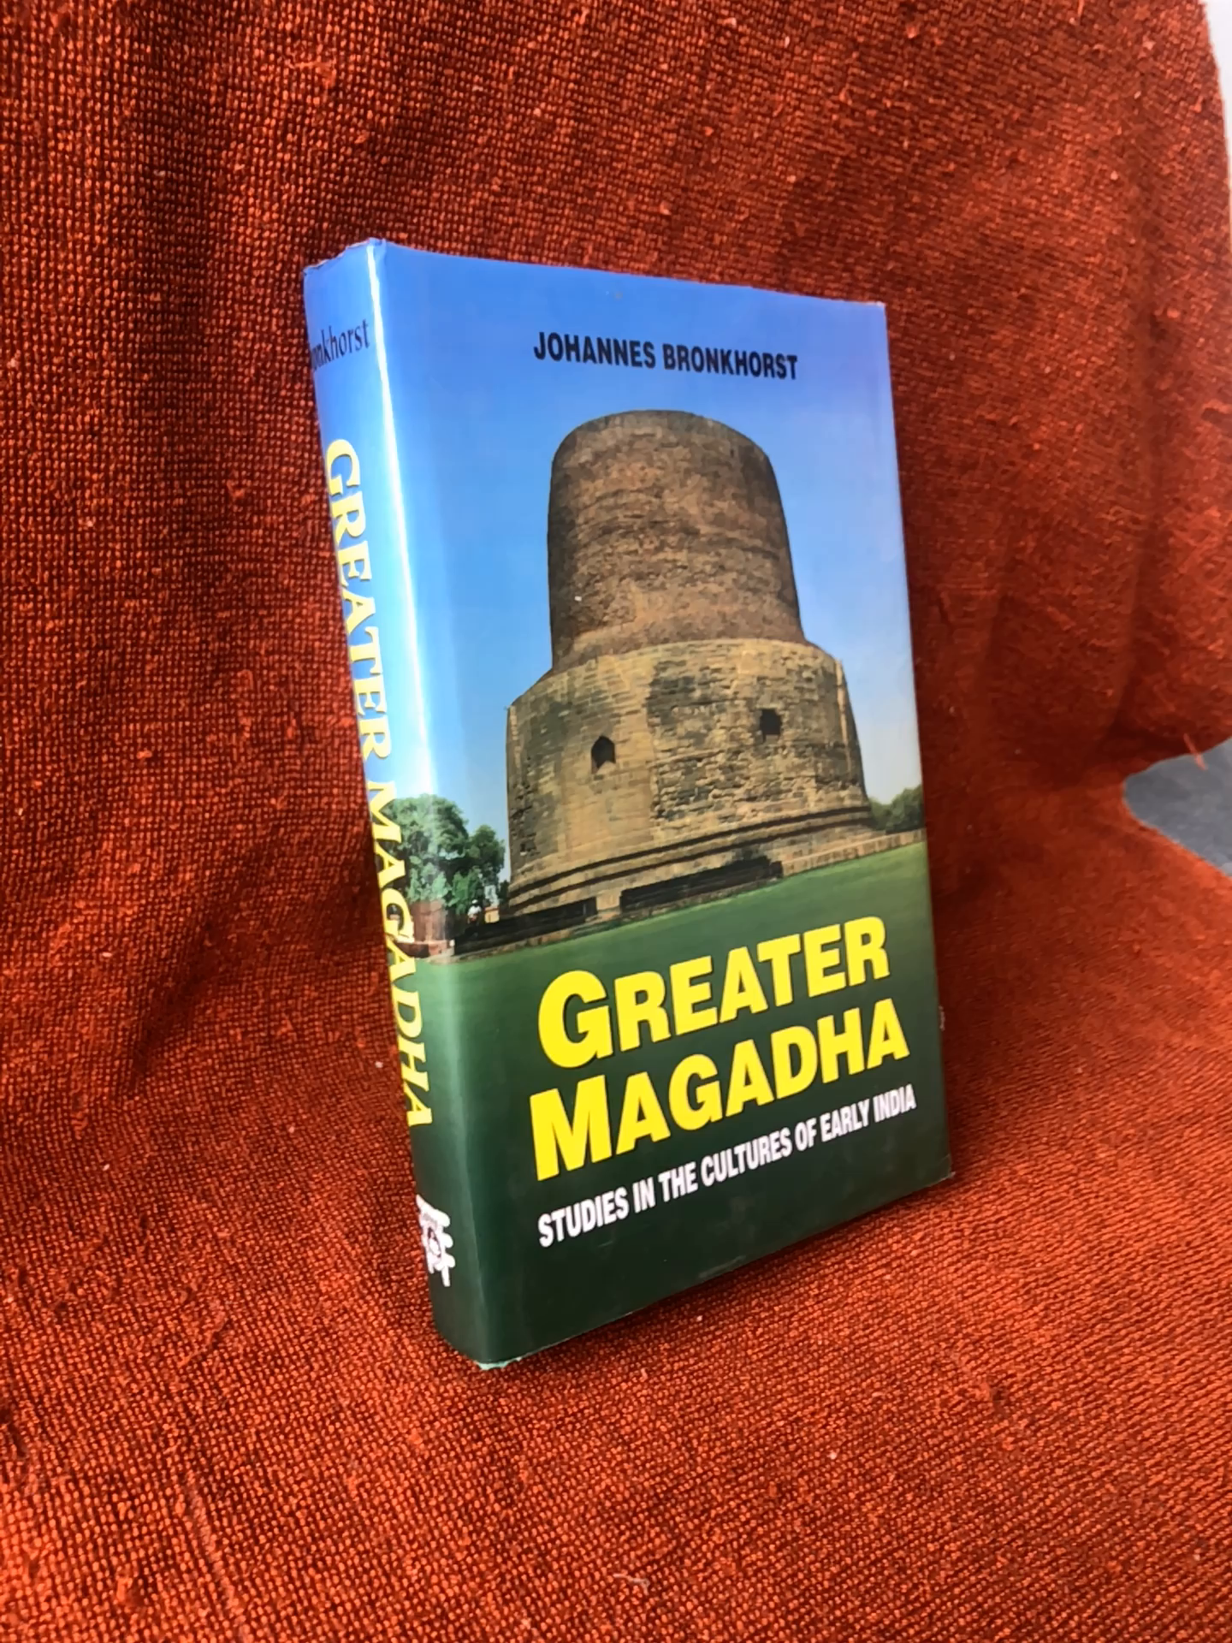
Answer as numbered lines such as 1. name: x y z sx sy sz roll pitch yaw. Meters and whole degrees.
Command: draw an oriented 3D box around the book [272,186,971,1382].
1. book: 0.012 -0.013 0.307 0.151 0.220 0.030 -8 6 -36
